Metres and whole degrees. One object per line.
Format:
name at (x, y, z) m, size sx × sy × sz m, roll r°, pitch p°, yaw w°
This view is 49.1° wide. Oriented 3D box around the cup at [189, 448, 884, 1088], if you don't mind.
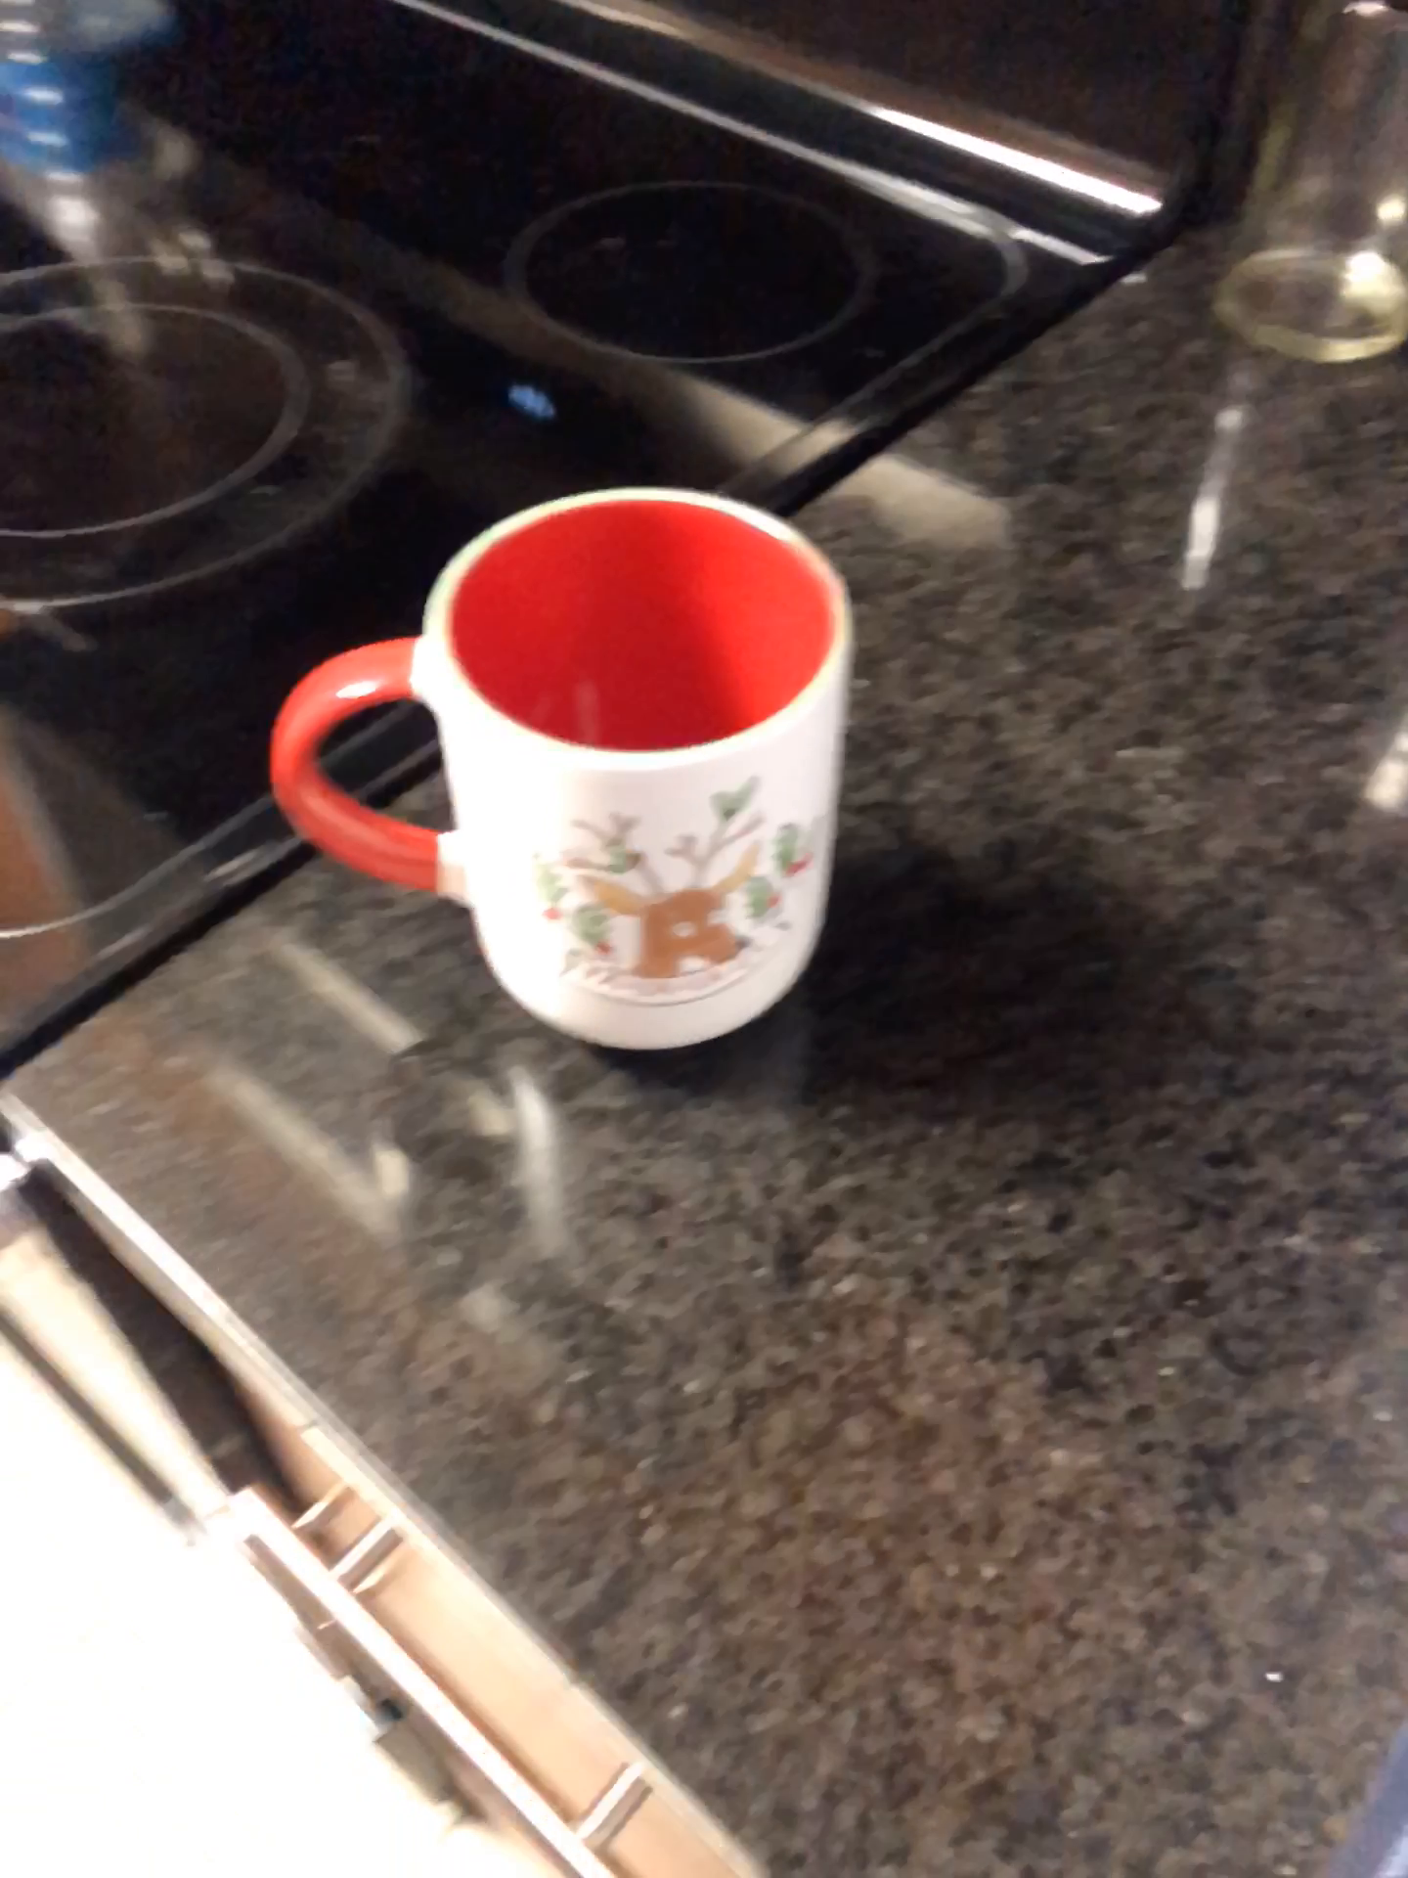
cup at (-0.034, -0.038, 0.360) m, size 0.130 × 0.110 × 0.090 m, roll -3°, pitch 50°, yaw -3°
